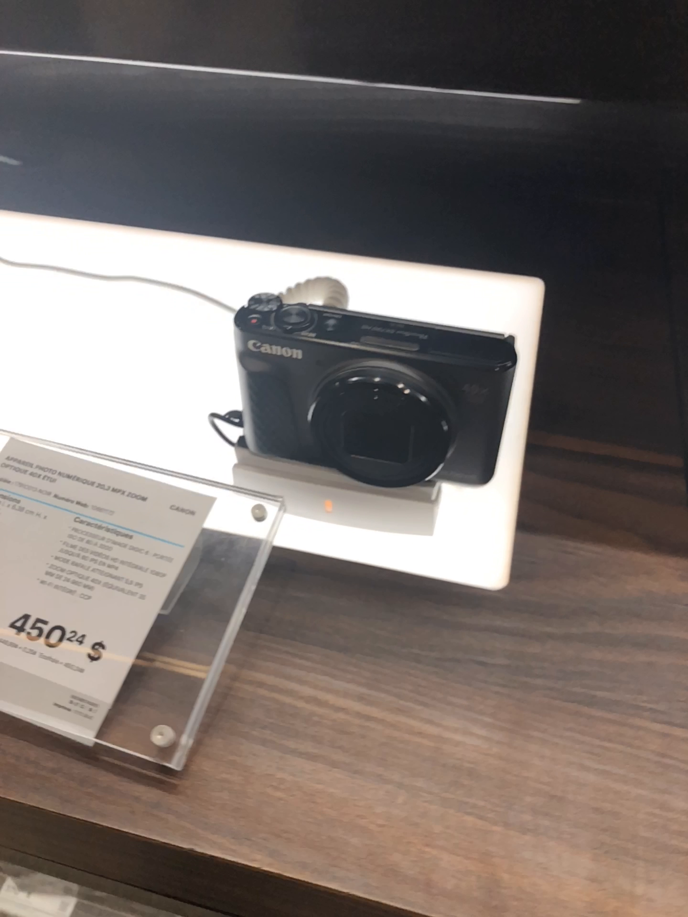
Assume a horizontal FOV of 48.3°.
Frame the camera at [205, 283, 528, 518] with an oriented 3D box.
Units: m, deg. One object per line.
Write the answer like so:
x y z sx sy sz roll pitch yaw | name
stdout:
0.009 -0.023 0.307 0.114 0.069 0.035 10 44 11 | camera
